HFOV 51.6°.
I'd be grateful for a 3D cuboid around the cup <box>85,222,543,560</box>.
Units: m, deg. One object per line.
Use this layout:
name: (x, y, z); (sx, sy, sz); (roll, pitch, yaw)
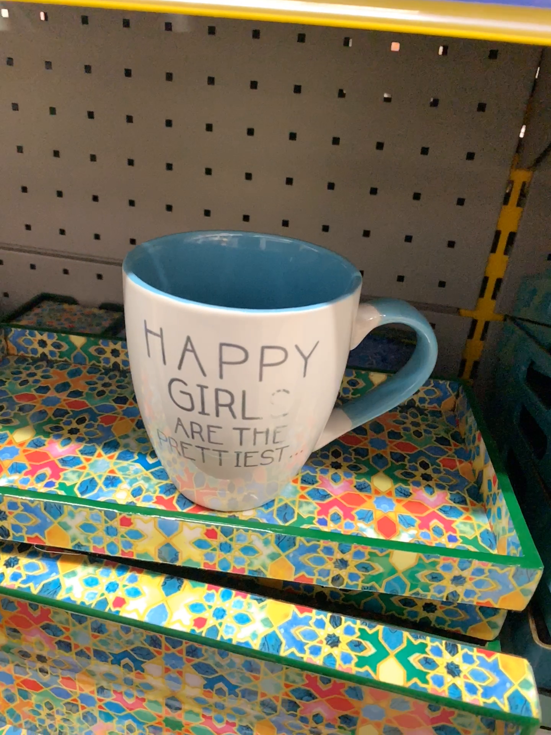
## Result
cup: (0.005, 0.004, 0.258); (0.150, 0.100, 0.120); (2, 28, -8)
